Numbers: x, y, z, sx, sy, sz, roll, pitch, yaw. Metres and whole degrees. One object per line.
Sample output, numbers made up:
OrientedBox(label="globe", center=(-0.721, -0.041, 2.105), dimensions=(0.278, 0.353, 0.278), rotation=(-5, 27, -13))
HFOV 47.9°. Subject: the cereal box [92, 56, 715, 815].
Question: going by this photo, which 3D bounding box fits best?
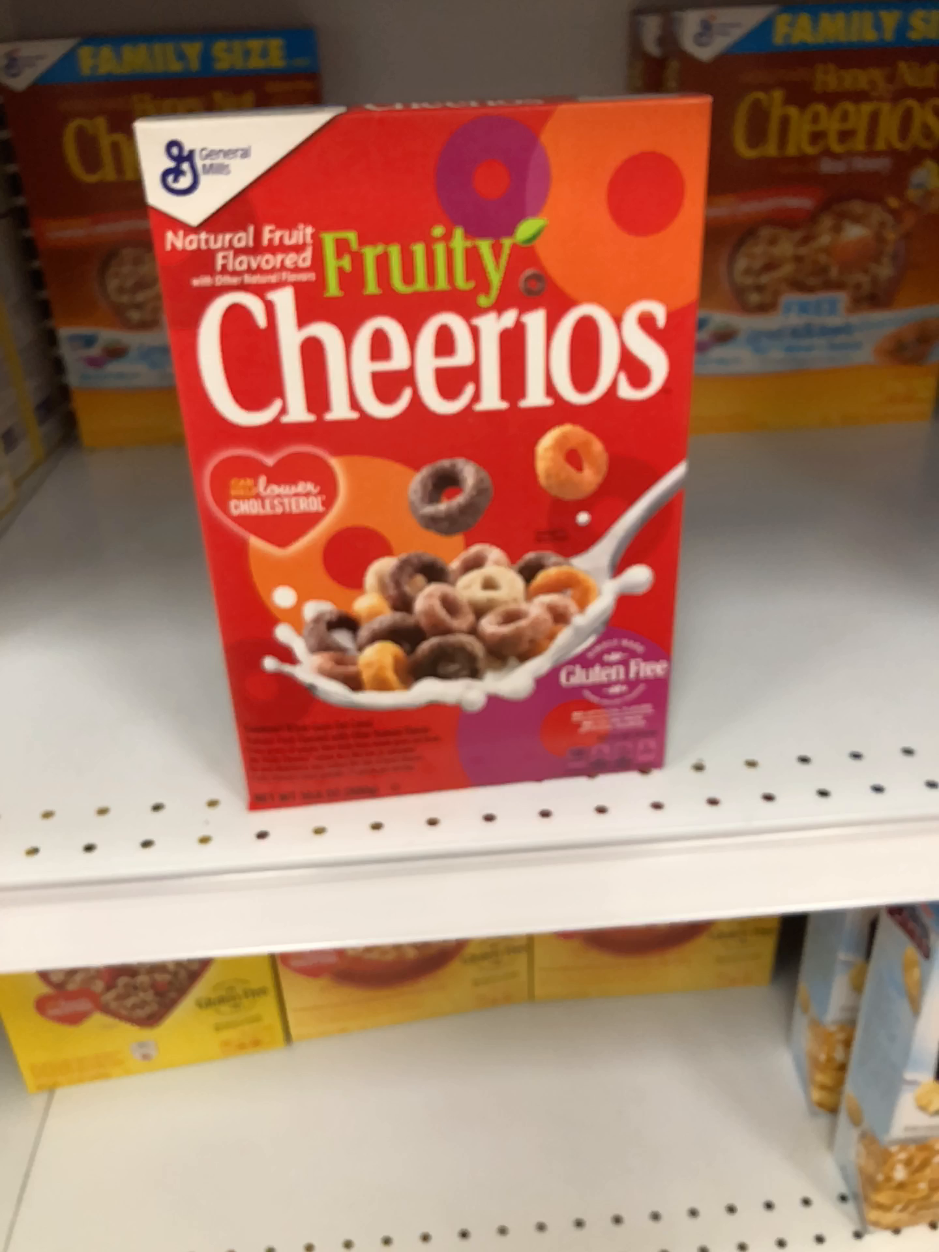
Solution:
OrientedBox(label="cereal box", center=(-0.015, -0.064, 0.436), dimensions=(0.200, 0.289, 0.060), rotation=(-5, 30, -4))
